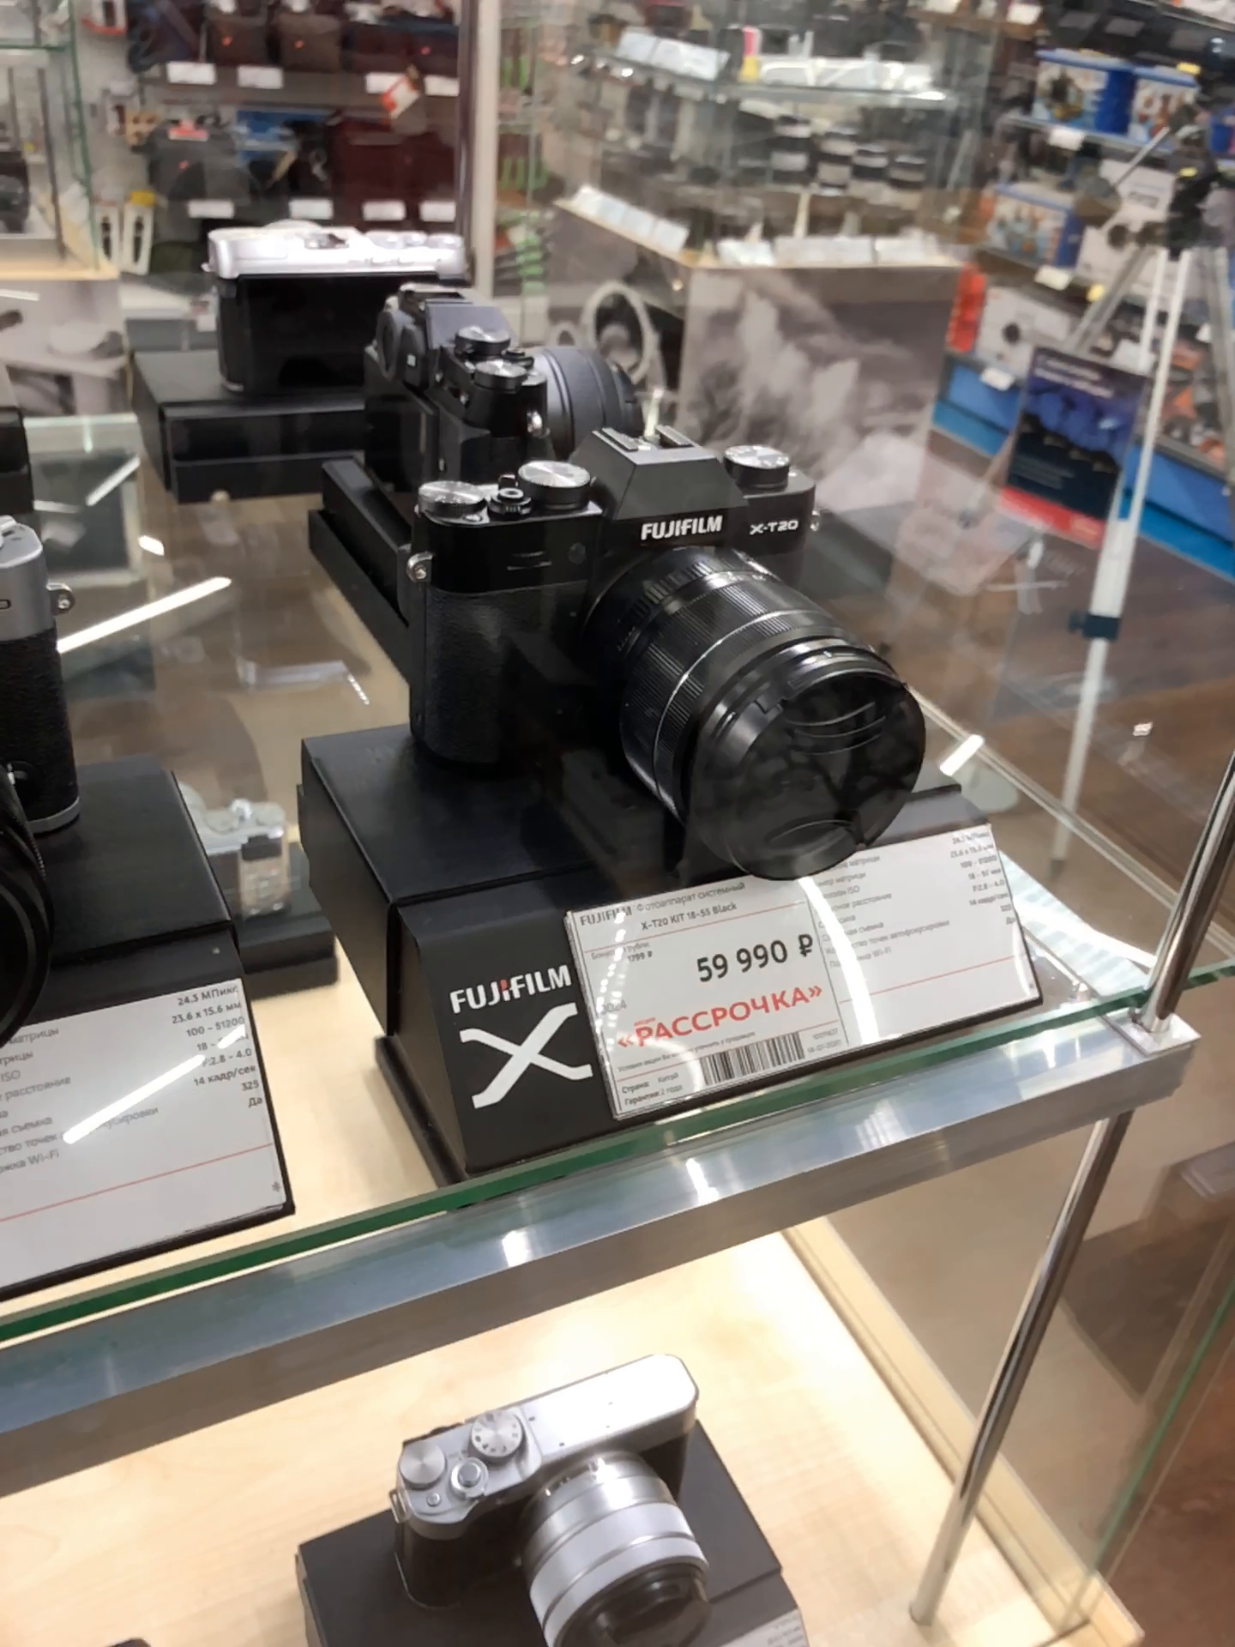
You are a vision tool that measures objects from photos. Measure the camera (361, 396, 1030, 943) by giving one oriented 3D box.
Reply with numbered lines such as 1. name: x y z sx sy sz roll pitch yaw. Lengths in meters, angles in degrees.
1. camera: 0.011 -0.050 0.357 0.121 0.081 0.121 -12 36 -25
